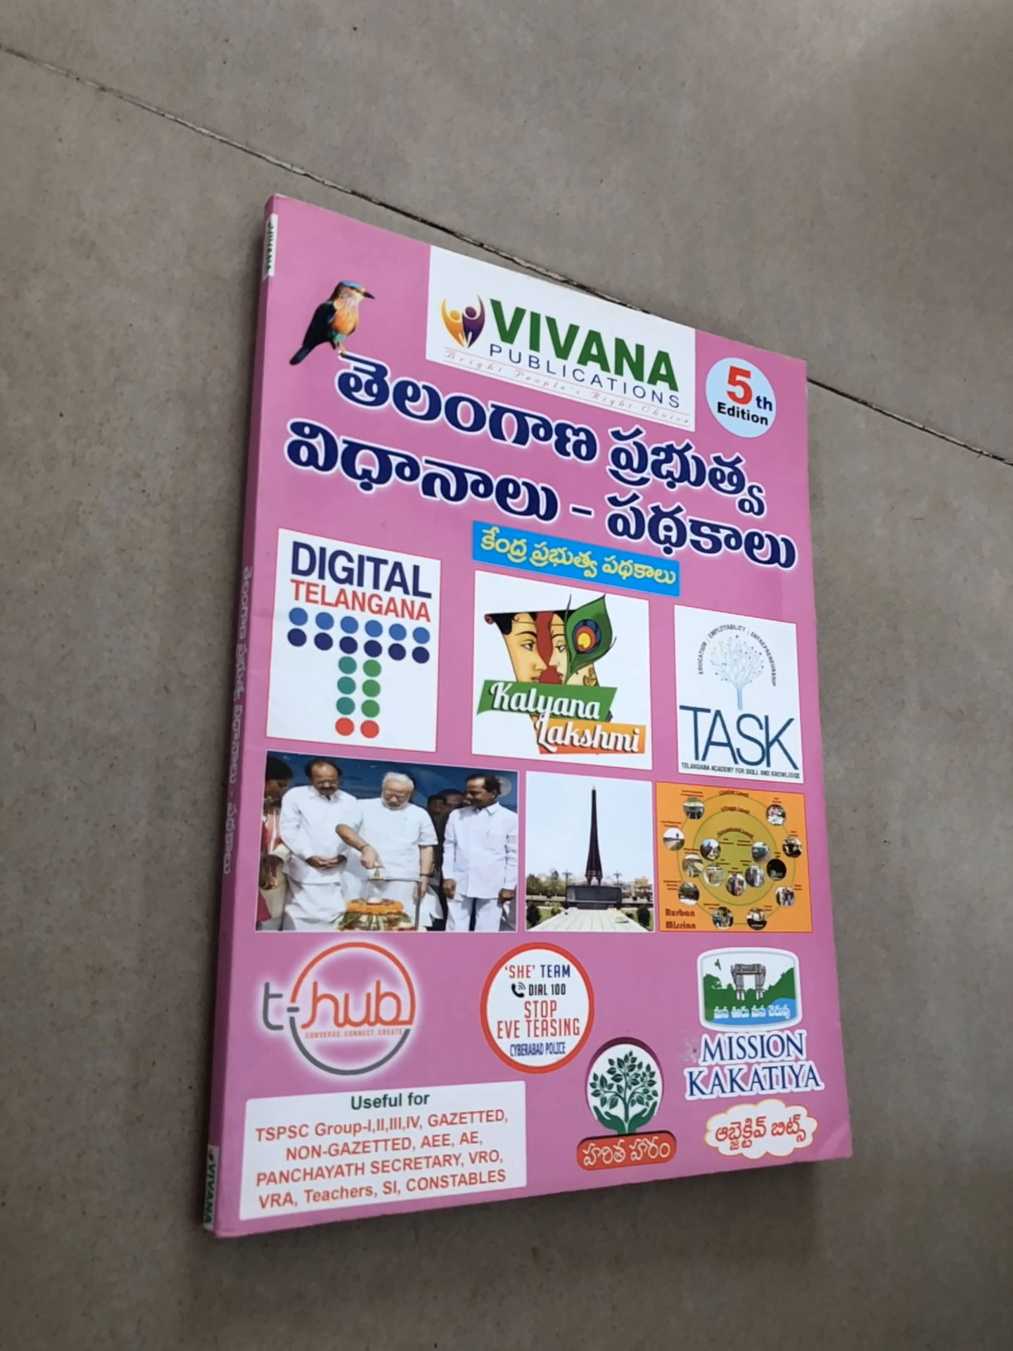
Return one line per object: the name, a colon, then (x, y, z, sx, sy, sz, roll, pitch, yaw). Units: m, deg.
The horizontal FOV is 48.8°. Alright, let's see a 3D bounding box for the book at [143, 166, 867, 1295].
book: (0.012, 0.014, 0.329, 0.201, 0.040, 0.270, 8, 76, -28)
